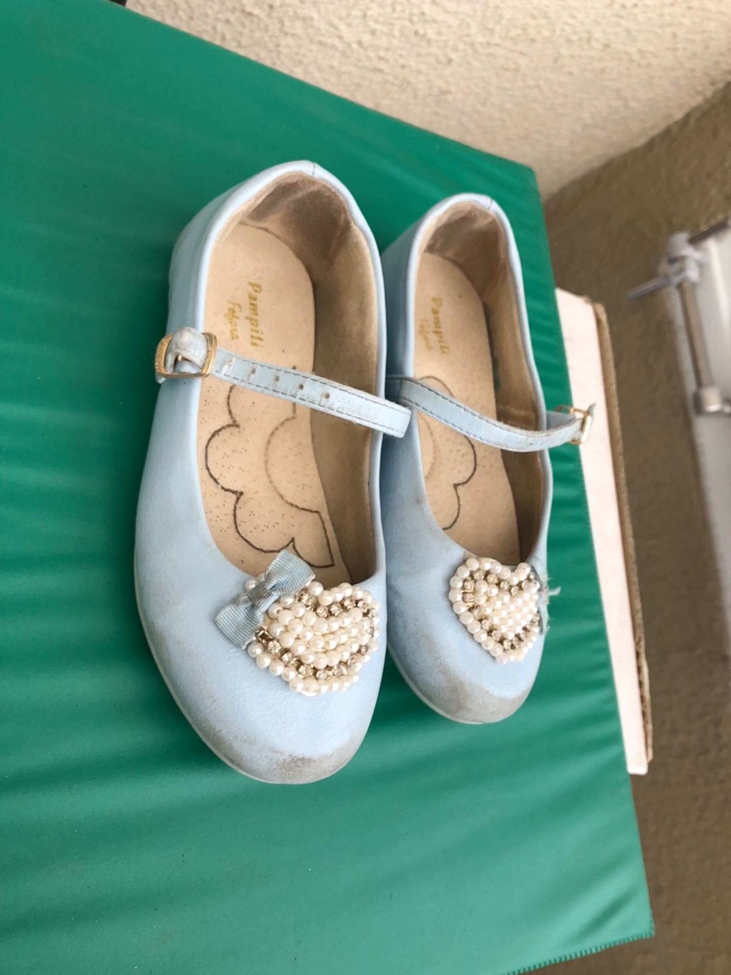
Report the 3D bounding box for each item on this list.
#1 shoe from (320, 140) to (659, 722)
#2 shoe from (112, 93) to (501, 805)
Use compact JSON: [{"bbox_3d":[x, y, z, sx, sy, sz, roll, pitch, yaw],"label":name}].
[{"bbox_3d":[0.038,-0.014,0.271,0.080,0.050,0.170,6,73,-36],"label":"shoe"},{"bbox_3d":[-0.020,-0.008,0.231,0.087,0.050,0.170,6,73,-36],"label":"shoe"}]
